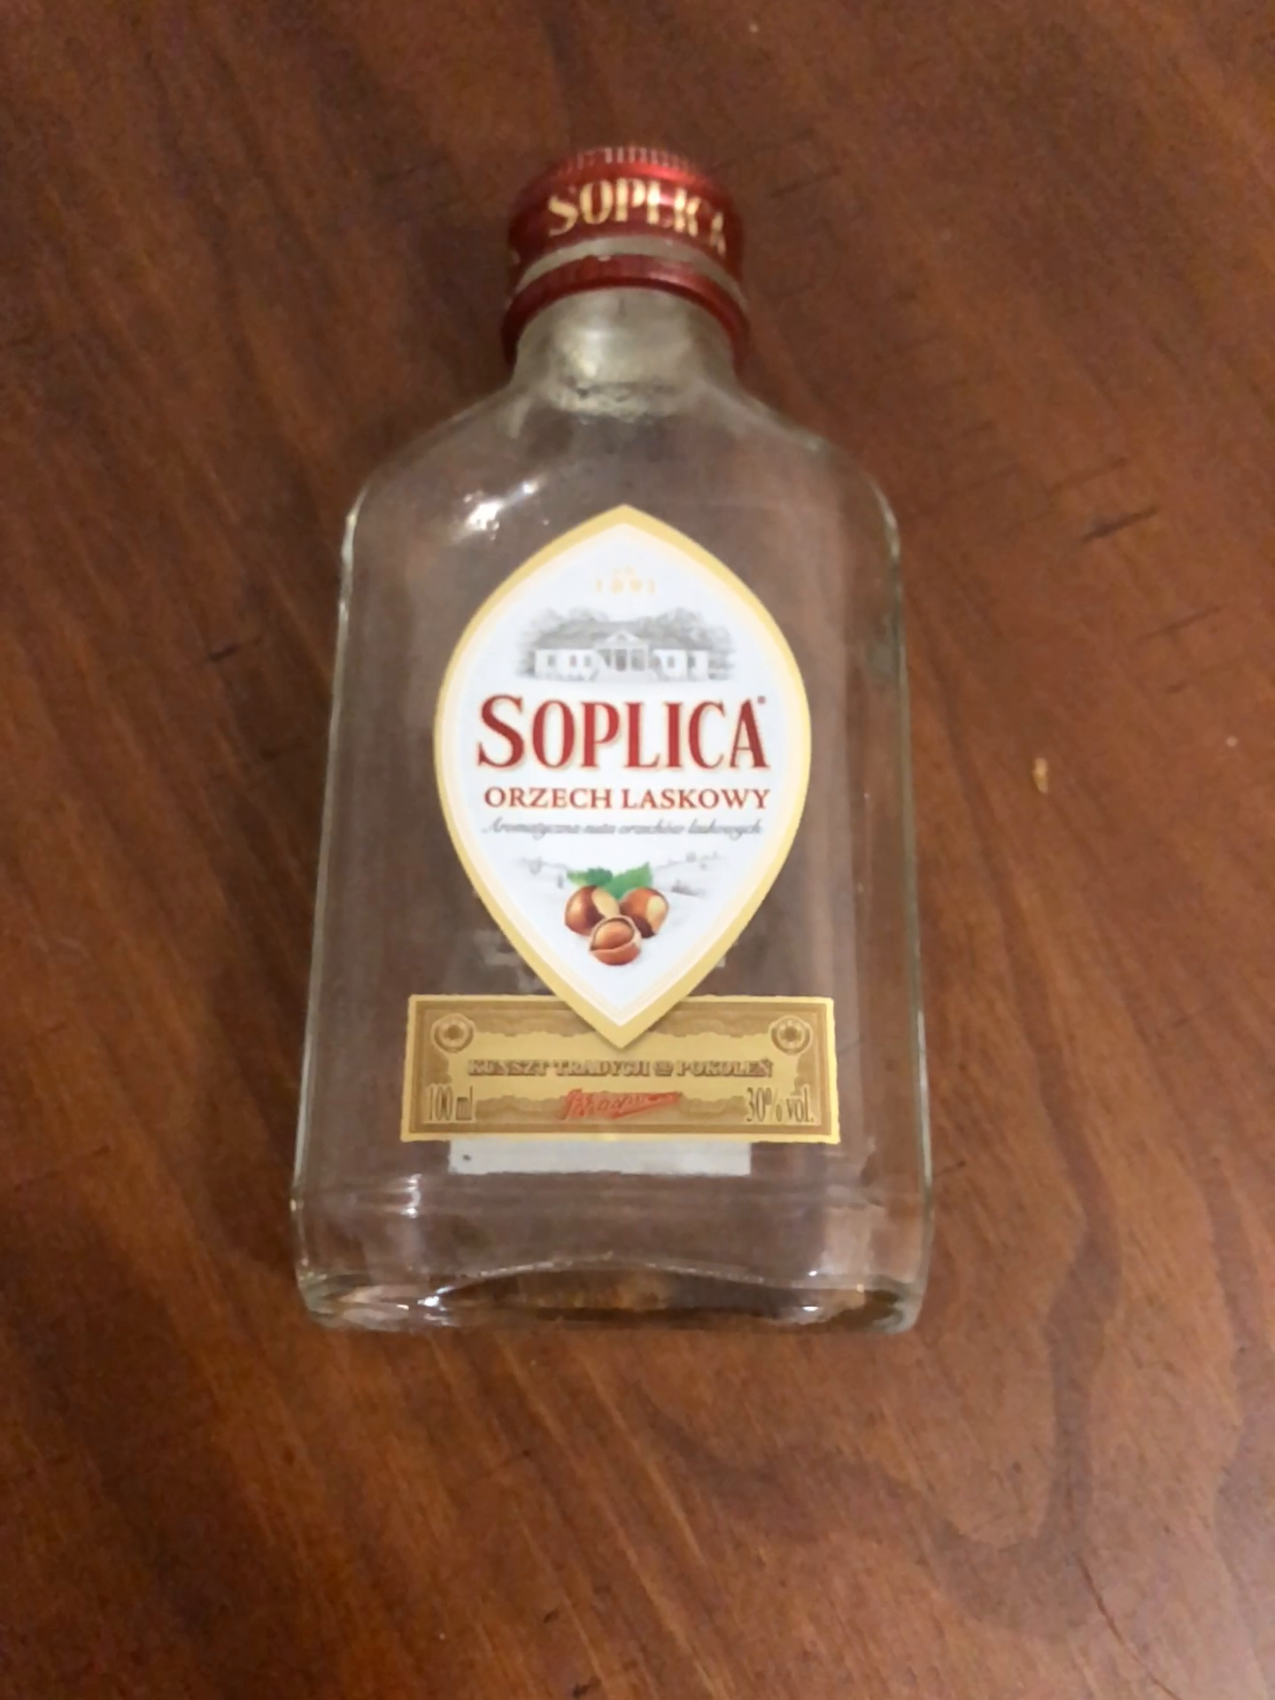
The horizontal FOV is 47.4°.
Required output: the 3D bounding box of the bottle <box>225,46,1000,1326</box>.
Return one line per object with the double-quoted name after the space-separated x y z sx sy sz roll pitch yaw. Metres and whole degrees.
-0.003 -0.024 0.170 0.070 0.030 0.150 0 71 -1 "bottle"
